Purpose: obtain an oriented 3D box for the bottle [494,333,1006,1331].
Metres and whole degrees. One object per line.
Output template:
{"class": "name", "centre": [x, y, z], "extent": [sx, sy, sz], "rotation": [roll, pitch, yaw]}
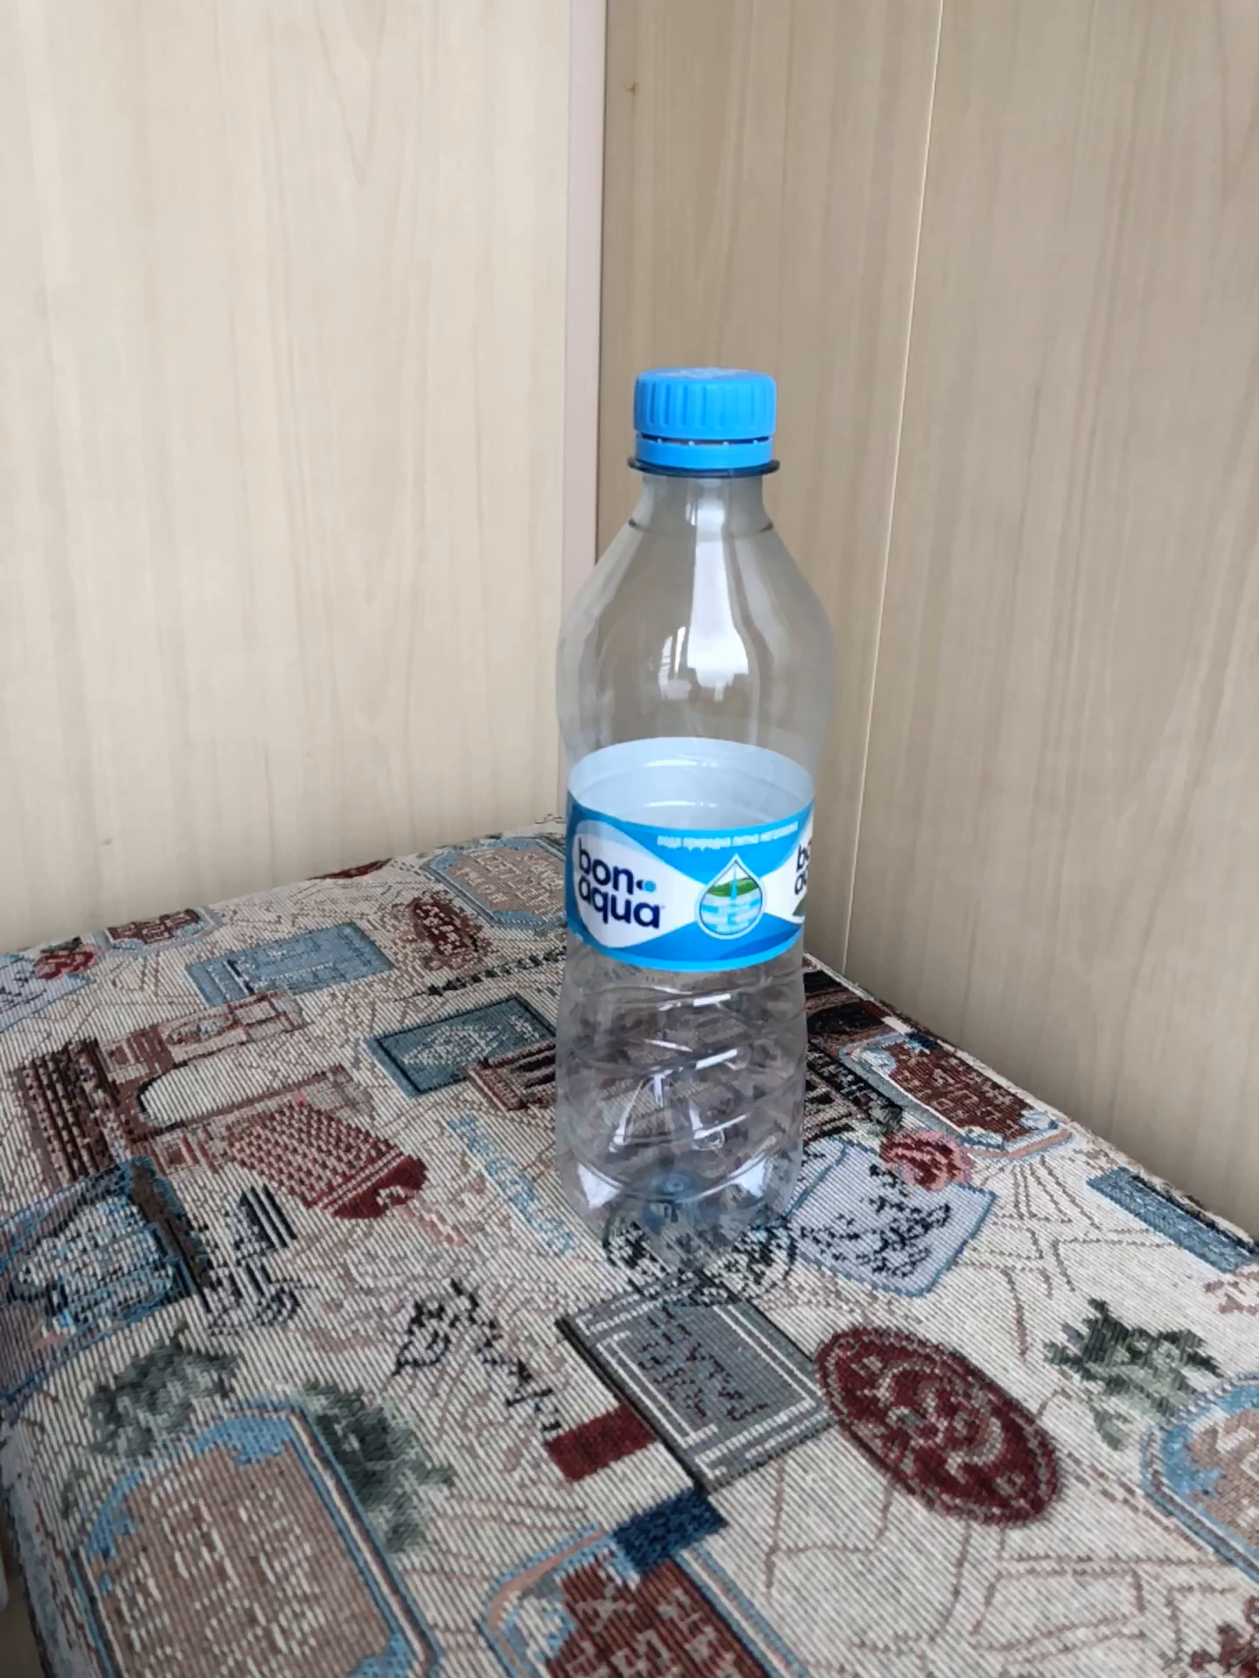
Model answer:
{"class": "bottle", "centre": [0.022, -0.006, 0.325], "extent": [0.080, 0.209, 0.070], "rotation": [20, 28, 38]}
